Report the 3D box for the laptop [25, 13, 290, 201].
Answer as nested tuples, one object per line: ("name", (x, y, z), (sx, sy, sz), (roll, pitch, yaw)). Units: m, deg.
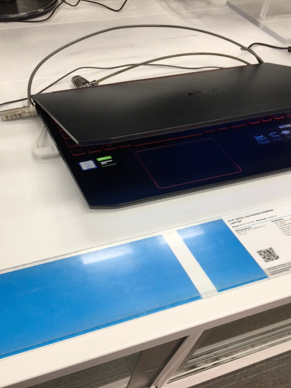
("laptop", (0.085, -0.137, 0.530), (0.408, 0.101, 0.233), (-14, 52, -14))
